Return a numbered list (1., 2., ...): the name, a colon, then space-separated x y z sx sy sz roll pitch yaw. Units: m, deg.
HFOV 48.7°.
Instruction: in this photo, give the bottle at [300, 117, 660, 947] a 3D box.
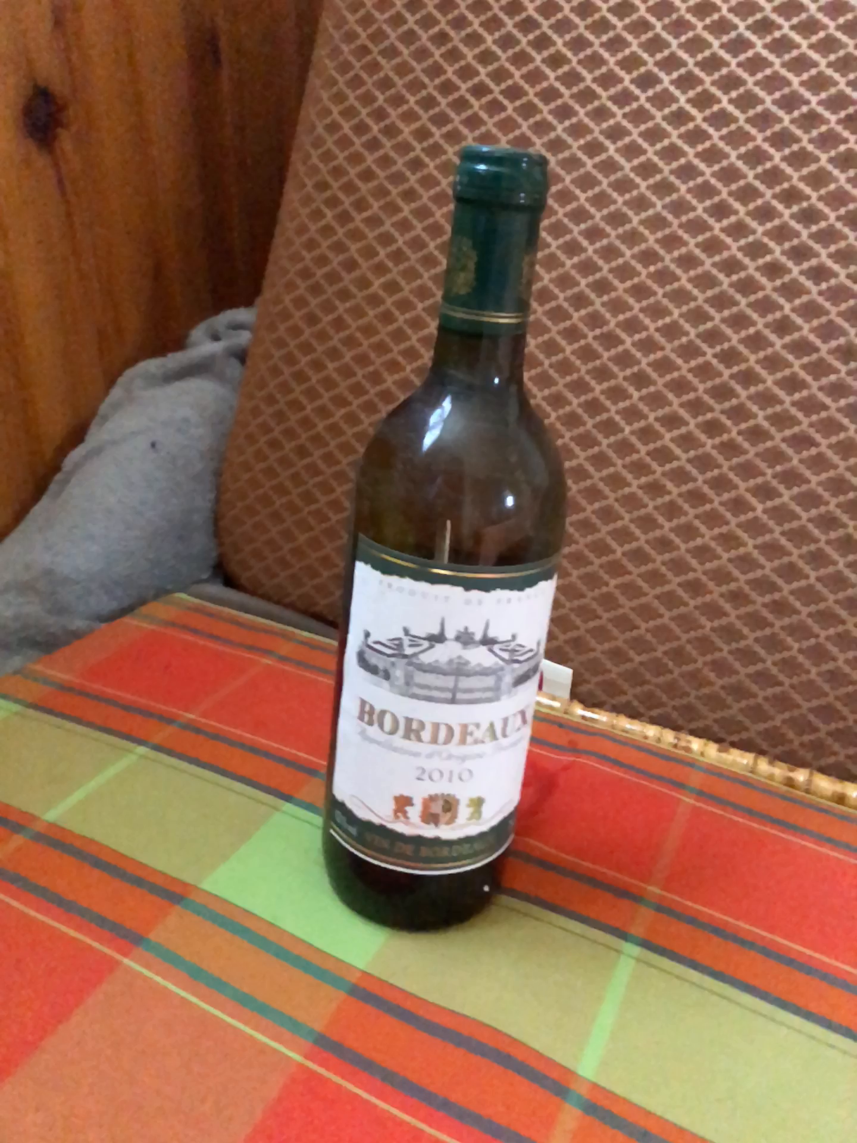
1. bottle: 0.009 -0.006 0.339 0.080 0.269 0.080 6 20 -2
